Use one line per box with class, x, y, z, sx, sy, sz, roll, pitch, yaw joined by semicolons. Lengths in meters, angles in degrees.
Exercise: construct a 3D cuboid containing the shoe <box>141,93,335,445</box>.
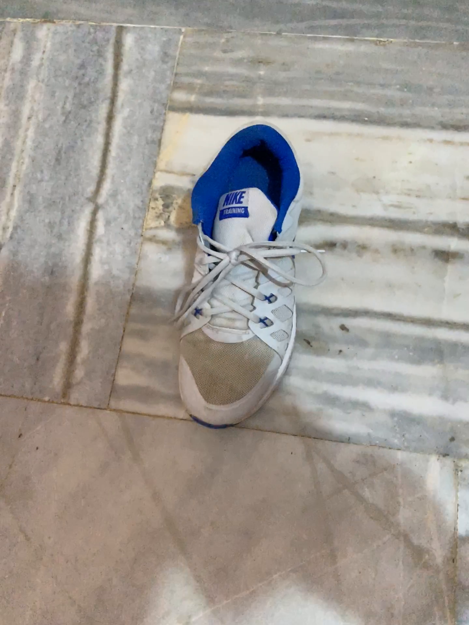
shoe;0.011;-0.039;0.454;0.116;0.100;0.300;9;77;6
